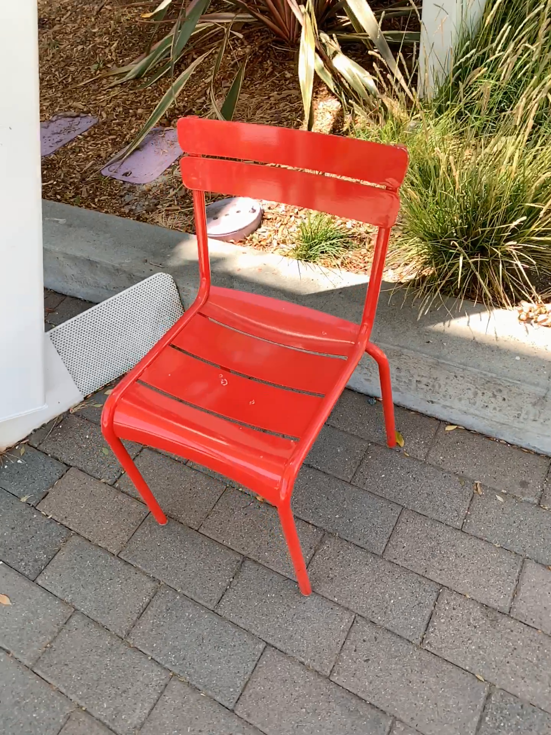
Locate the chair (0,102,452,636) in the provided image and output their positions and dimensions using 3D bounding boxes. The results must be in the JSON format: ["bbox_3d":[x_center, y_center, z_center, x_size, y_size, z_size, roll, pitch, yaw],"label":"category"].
[{"bbox_3d":[-0.055,-0.004,1.187,0.582,0.786,0.632,17,51,24],"label":"chair"}]
